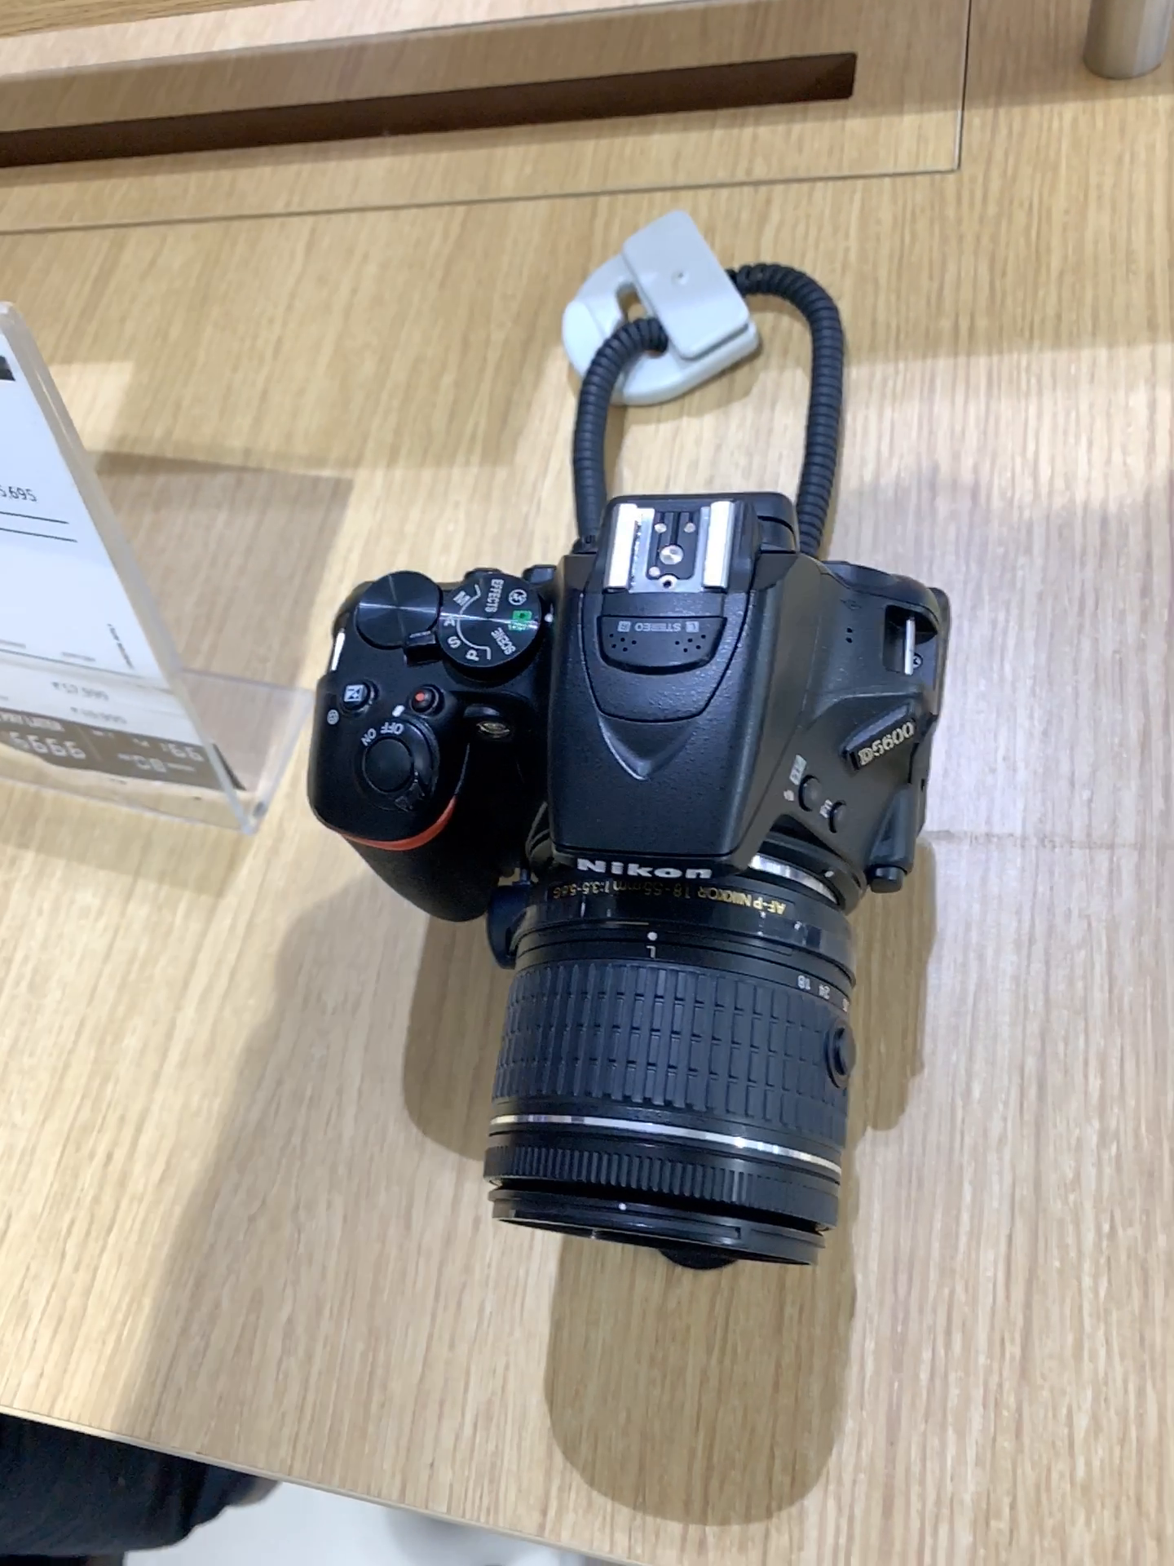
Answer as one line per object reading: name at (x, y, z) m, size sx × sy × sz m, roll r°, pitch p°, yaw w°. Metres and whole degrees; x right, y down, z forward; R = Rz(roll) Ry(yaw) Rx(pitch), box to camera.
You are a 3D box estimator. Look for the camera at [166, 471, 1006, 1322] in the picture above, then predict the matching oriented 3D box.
camera at (0.011, 0.021, 0.214) m, size 0.110 × 0.080 × 0.120 m, roll 1°, pitch 66°, yaw 14°
